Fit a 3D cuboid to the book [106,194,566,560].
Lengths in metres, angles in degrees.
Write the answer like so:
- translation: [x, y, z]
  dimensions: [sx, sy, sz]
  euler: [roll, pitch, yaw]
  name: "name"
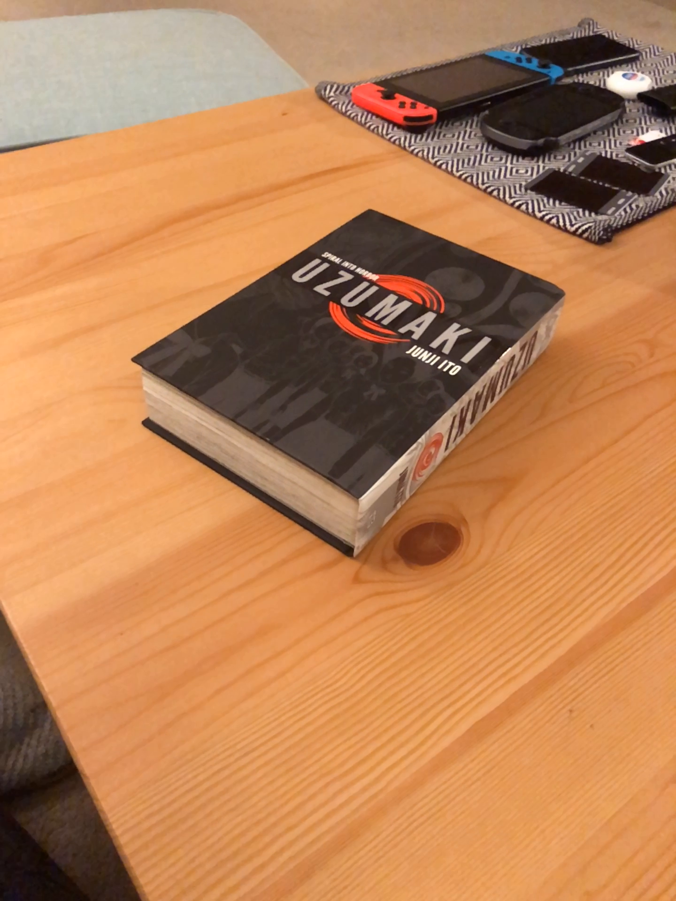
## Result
- translation: [0.006, -0.059, 0.420]
  dimensions: [0.157, 0.048, 0.205]
  euler: [30, 52, 23]
  name: "book"
